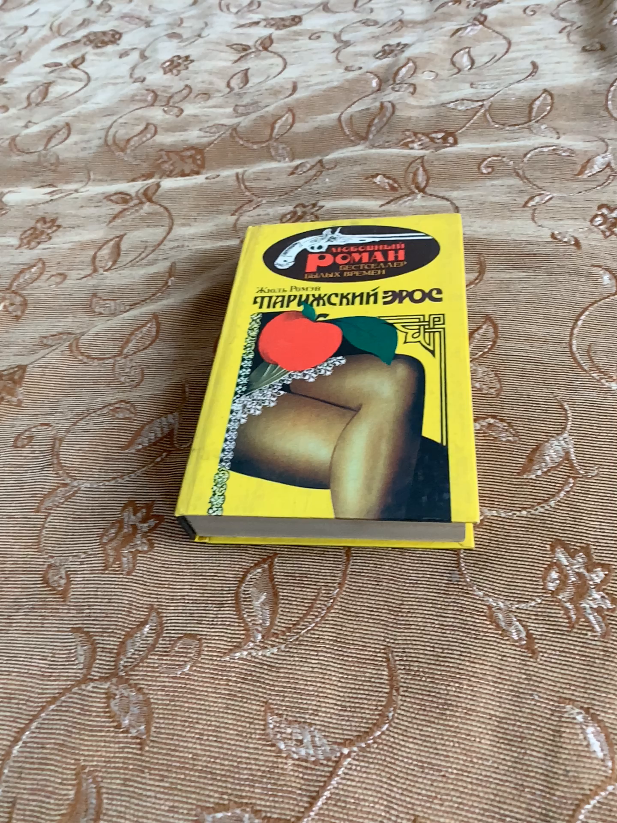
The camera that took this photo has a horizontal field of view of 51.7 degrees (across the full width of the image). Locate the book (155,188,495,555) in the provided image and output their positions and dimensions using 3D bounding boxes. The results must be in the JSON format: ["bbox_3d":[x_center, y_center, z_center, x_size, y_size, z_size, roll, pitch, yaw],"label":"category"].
[{"bbox_3d":[0.015,-0.031,0.315,0.130,0.040,0.197,0,53,9],"label":"book"}]
